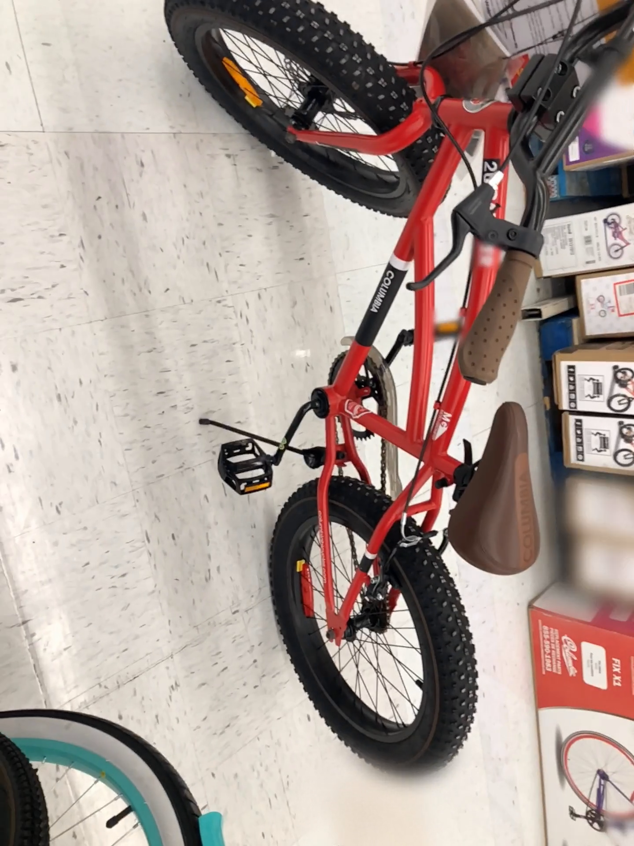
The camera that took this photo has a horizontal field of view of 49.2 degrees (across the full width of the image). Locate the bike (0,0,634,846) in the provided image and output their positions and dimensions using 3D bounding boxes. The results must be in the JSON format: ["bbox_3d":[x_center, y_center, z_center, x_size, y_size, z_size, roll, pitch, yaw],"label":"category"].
[{"bbox_3d":[0.082,-0.002,1.076,0.610,0.968,1.357,-22,104,-41],"label":"bike"}]
